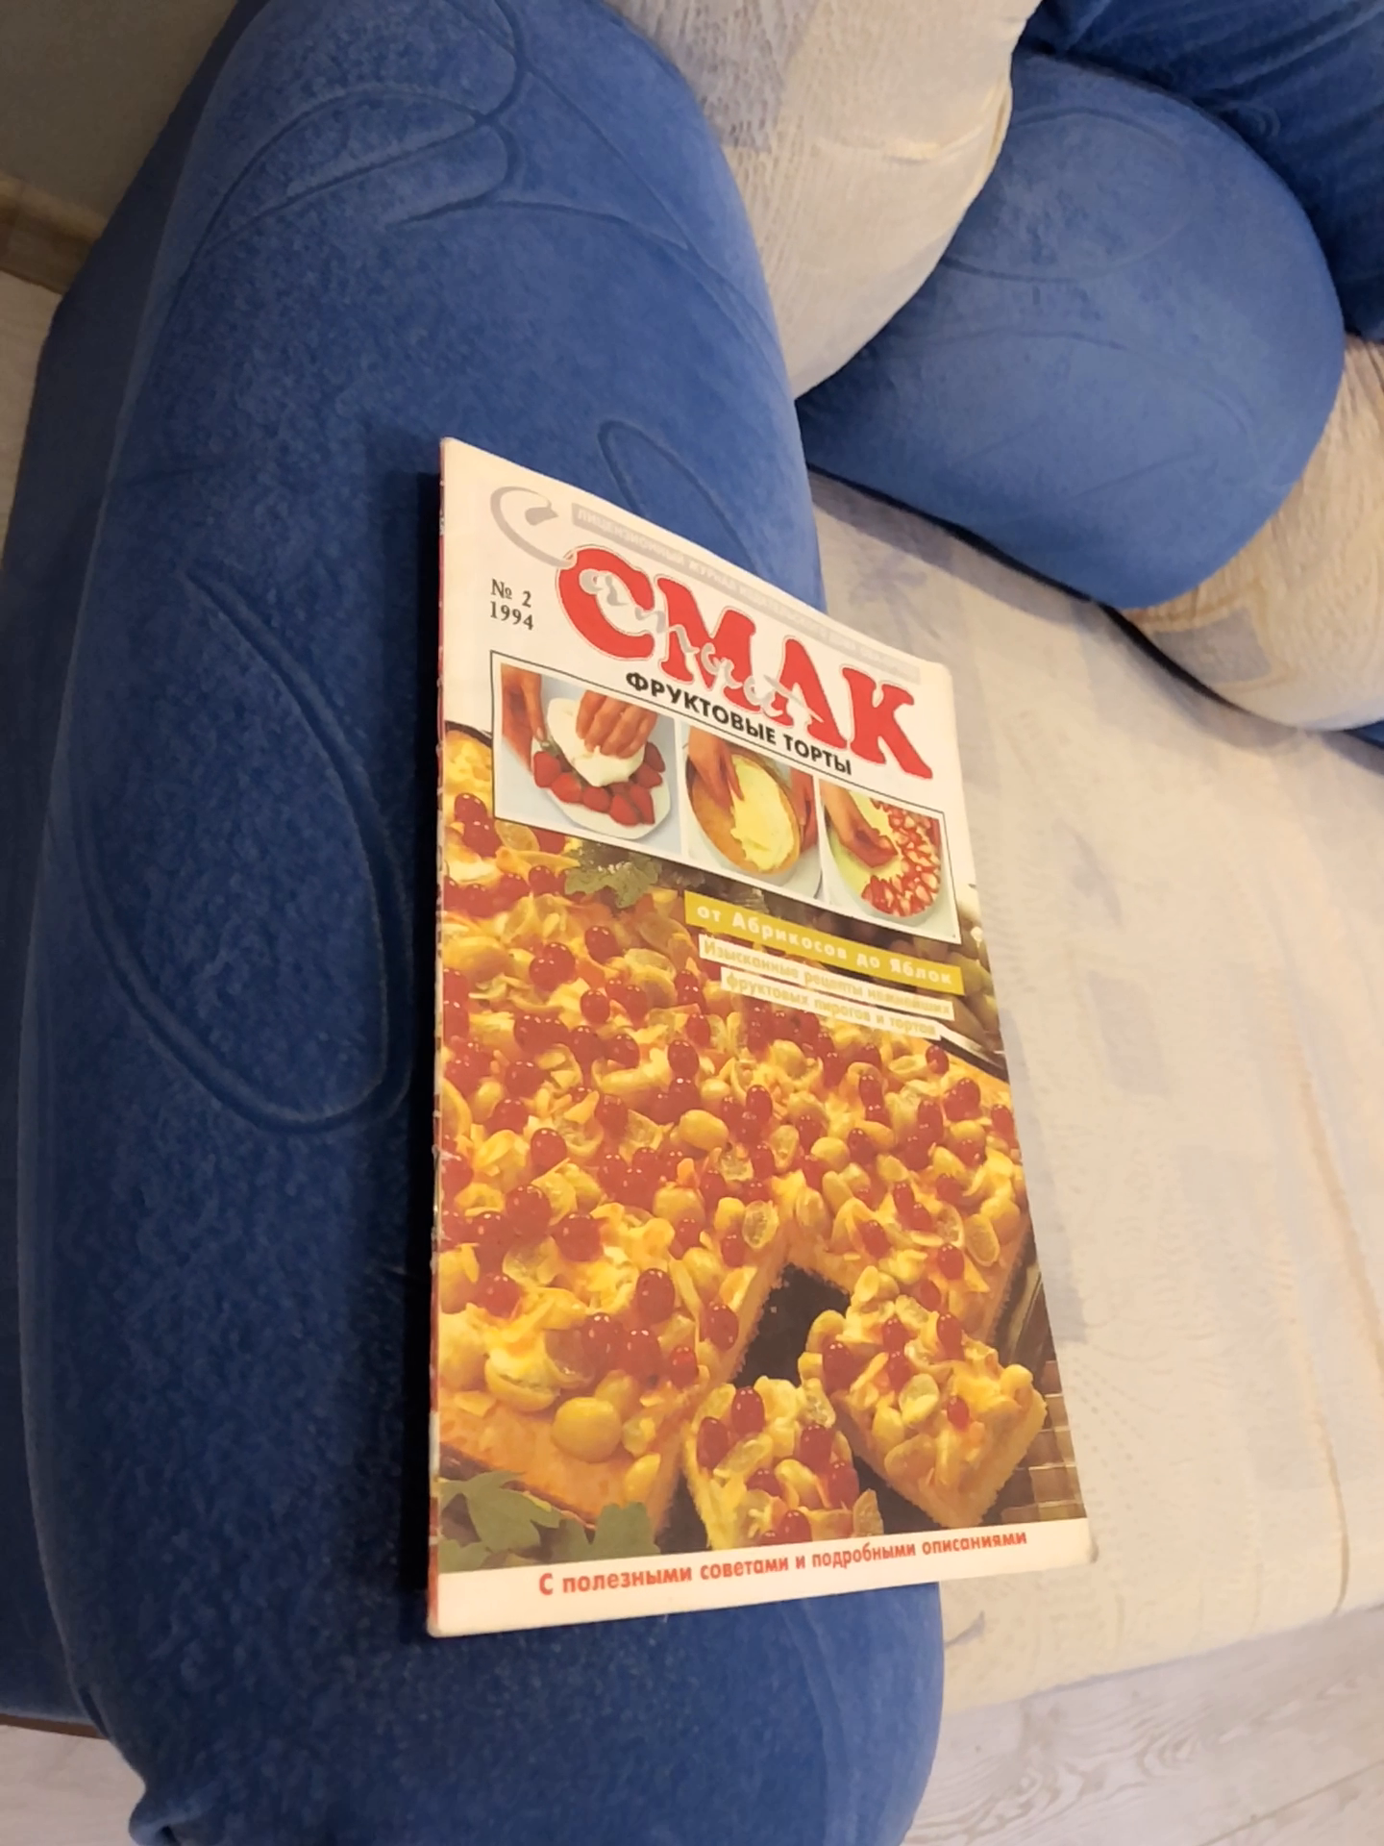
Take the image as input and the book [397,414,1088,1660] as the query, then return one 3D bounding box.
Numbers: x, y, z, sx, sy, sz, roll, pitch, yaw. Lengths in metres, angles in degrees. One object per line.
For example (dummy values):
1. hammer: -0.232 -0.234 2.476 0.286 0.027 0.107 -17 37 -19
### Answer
1. book: 0.016 0.022 0.335 0.172 0.010 0.236 15 64 -39
